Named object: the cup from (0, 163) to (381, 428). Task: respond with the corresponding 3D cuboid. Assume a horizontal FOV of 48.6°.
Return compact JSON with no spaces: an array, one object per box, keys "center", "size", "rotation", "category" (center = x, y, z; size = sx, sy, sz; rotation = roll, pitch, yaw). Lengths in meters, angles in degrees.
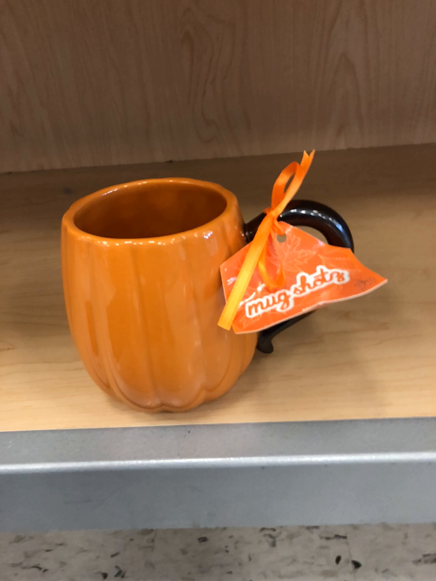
[{"center":[-0.008,0.001,0.233],"size":[0.140,0.089,0.081],"rotation":[-4,32,3],"category":"cup"}]
